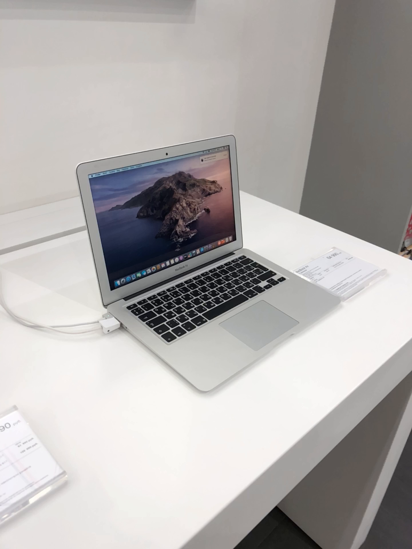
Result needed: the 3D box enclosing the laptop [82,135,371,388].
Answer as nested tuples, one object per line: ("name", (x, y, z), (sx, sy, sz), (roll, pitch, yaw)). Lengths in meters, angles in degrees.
("laptop", (0.028, -0.056, 0.690), (0.316, 0.207, 0.270), (-24, 41, -38))
